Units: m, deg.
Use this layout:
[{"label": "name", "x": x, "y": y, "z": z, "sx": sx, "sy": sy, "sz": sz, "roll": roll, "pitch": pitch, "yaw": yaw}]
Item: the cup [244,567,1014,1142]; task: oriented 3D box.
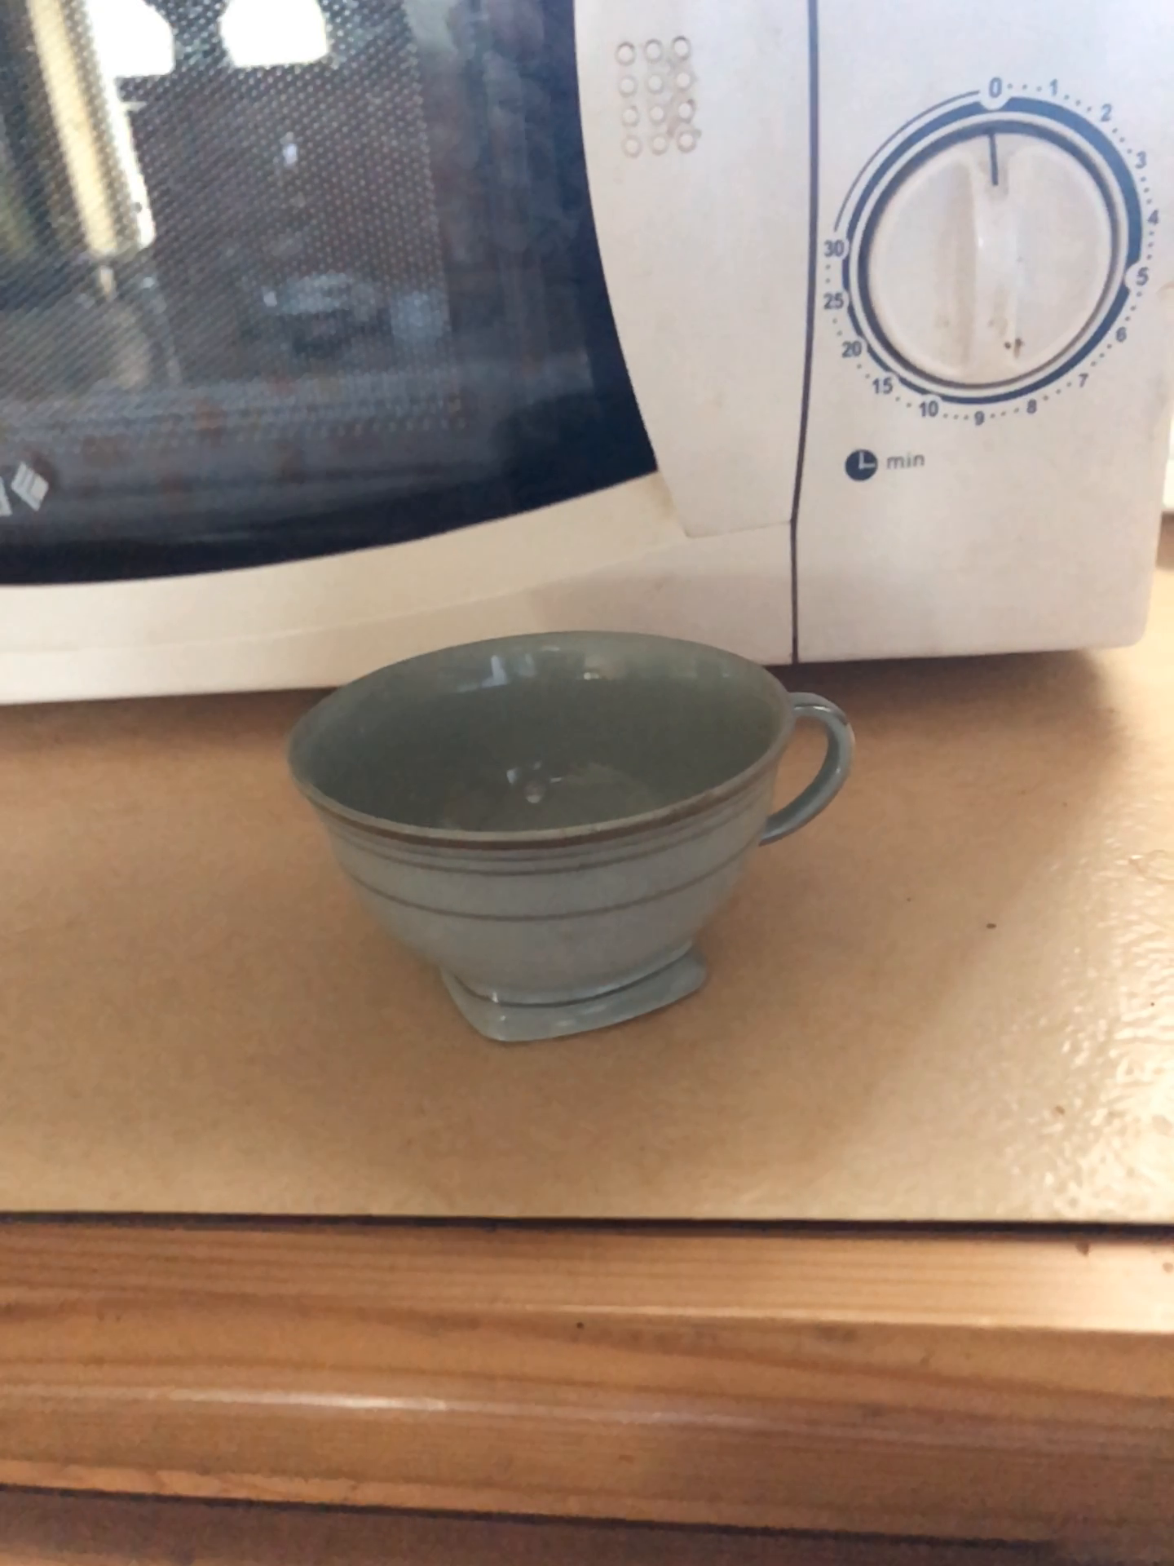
[{"label": "cup", "x": 0.003, "y": 0.003, "z": 0.220, "sx": 0.100, "sy": 0.040, "sz": 0.080, "roll": -15, "pitch": 29, "yaw": -18}]
